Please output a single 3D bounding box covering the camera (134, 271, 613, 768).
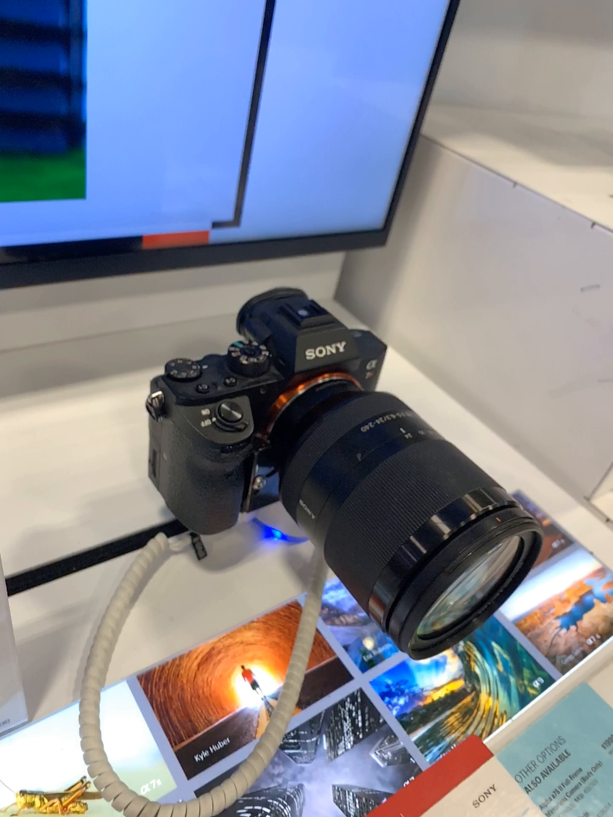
[{"bbox_3d":[0.020,0.030,0.296,0.130,0.099,0.173,-17,48,-34],"label":"camera"}]
